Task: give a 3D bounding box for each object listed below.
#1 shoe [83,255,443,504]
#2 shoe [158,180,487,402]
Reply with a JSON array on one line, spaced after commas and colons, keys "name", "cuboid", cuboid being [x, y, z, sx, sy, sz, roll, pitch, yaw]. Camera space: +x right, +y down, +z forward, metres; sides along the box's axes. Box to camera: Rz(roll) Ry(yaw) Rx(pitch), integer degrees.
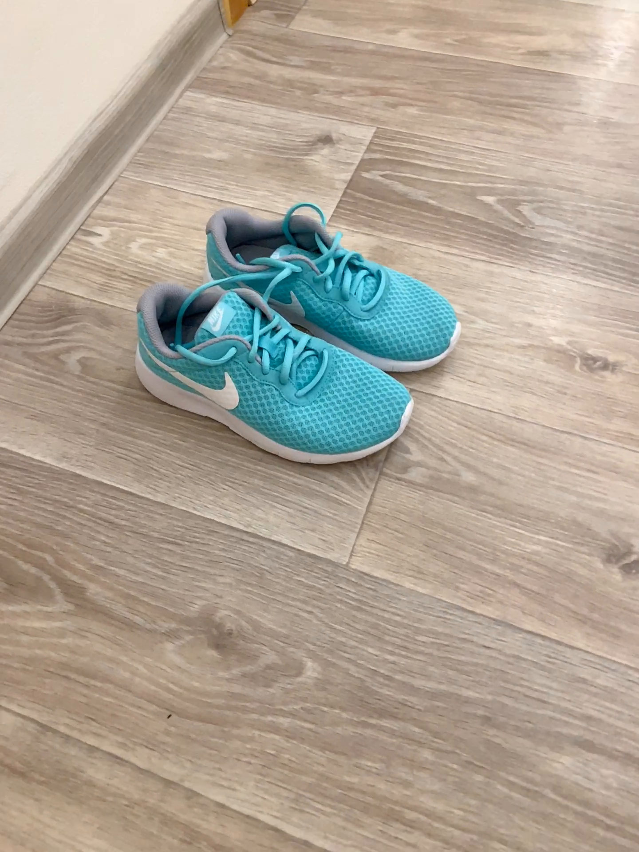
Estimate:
[{"name": "shoe", "cuboid": [-0.042, -0.040, 0.526, 0.250, 0.090, 0.101, 18, 61, 13]}, {"name": "shoe", "cuboid": [0.003, -0.120, 0.571, 0.250, 0.090, 0.098, 18, 61, 13]}]
